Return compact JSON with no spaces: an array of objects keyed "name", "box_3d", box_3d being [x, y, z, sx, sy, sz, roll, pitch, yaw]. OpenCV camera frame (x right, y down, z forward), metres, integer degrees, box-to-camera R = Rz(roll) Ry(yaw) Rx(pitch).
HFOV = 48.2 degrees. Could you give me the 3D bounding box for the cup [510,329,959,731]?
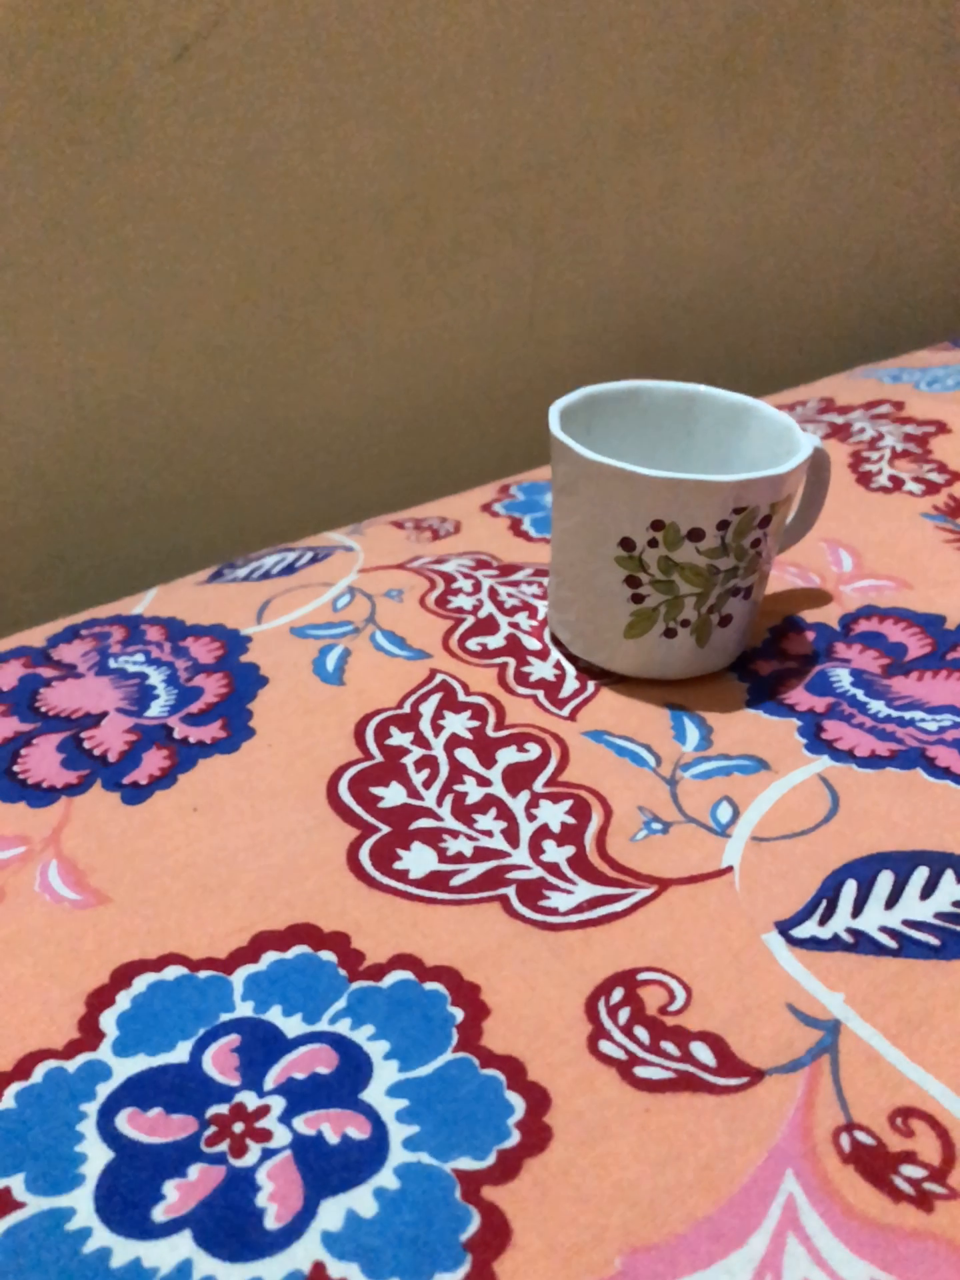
[{"name":"cup","box_3d":[0.061,-0.032,0.280,0.090,0.070,0.060,-13,37,-18]}]
